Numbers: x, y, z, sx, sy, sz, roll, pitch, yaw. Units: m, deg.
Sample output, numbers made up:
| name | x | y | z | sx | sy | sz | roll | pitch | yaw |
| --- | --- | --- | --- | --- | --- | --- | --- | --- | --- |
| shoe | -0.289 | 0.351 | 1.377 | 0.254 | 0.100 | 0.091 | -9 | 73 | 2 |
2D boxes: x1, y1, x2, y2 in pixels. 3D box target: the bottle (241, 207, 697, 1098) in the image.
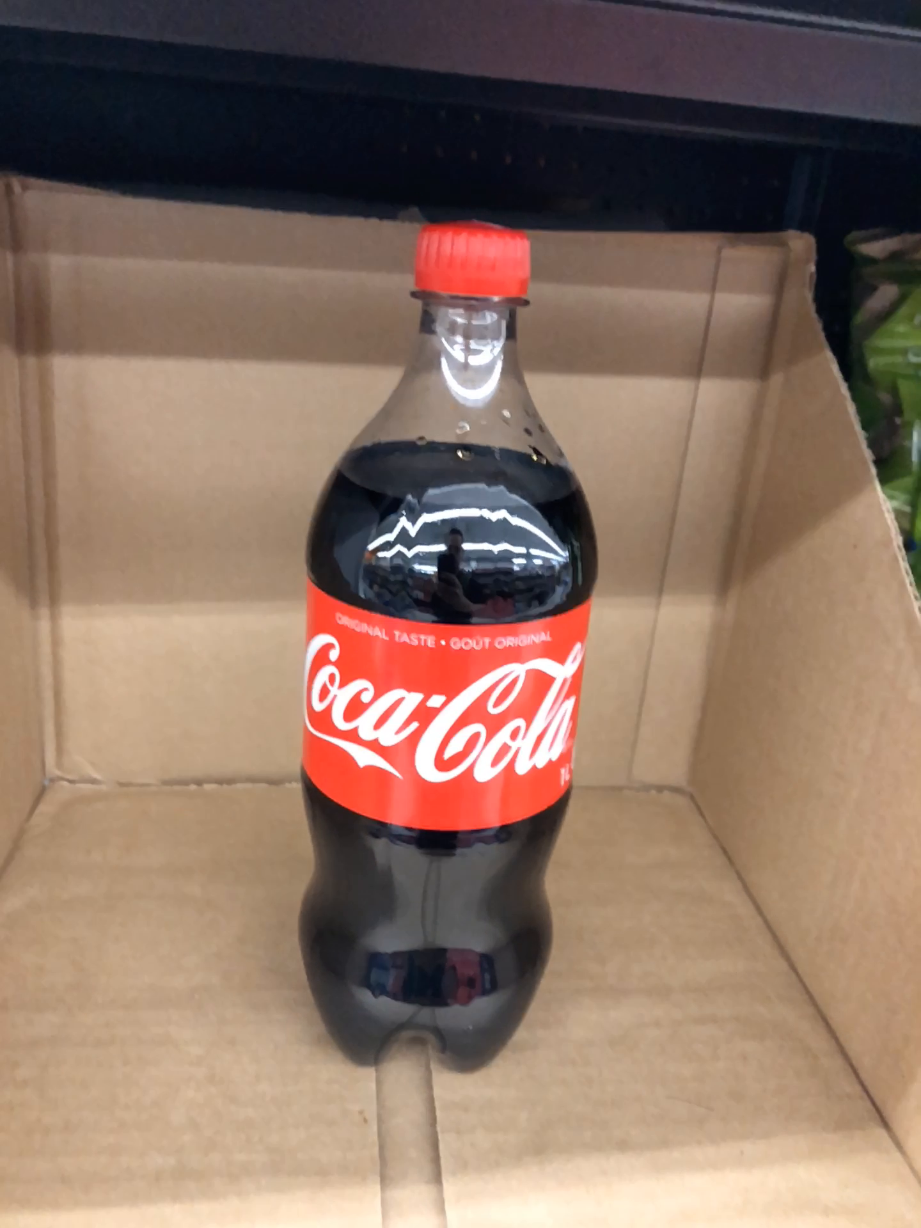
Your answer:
| name | x | y | z | sx | sy | sz | roll | pitch | yaw |
| --- | --- | --- | --- | --- | --- | --- | --- | --- | --- |
| bottle | -0.006 | 0.014 | 0.314 | 0.100 | 0.248 | 0.091 | 6 | 23 | 1 |
